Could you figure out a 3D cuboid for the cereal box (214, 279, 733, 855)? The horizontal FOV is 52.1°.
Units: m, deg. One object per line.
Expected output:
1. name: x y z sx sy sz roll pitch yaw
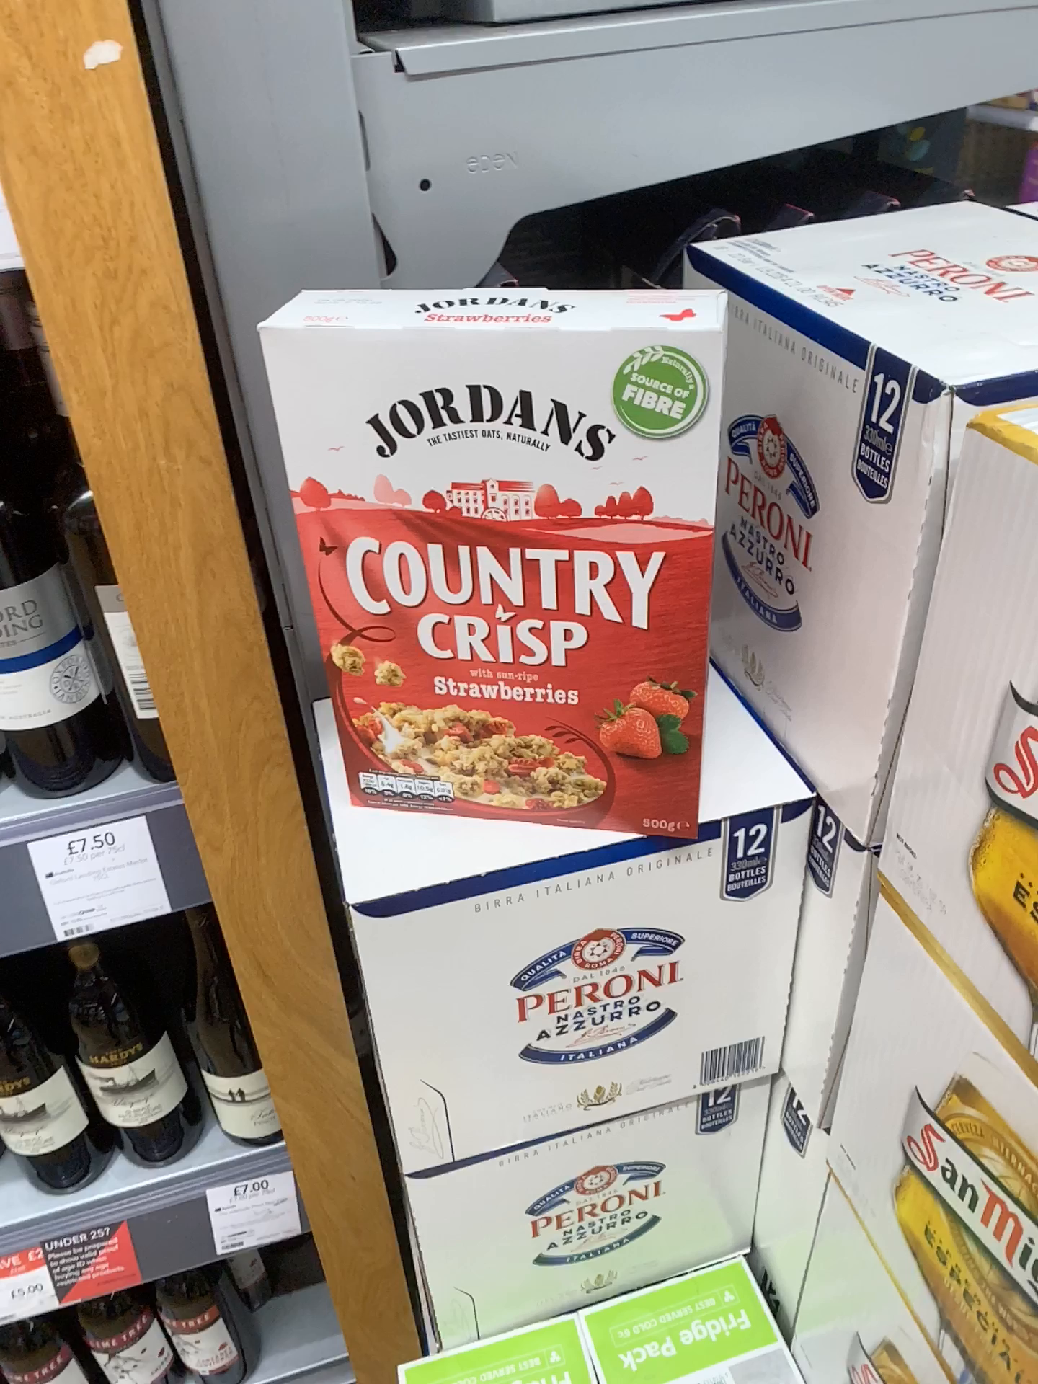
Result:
1. cereal box: -0.009 -0.046 0.470 0.190 0.248 0.050 4 35 12
